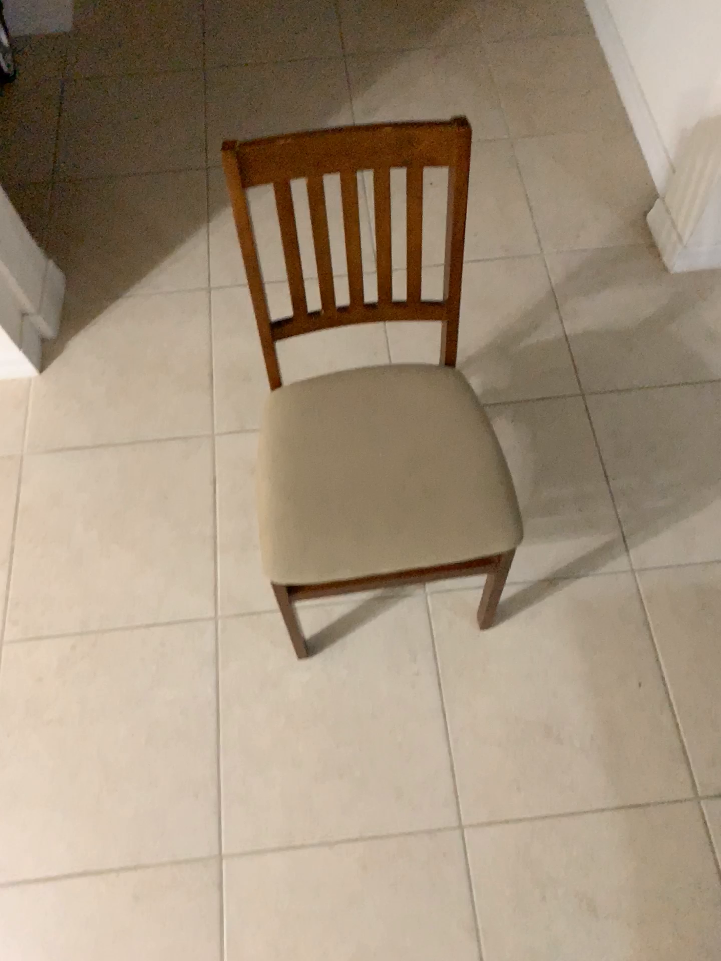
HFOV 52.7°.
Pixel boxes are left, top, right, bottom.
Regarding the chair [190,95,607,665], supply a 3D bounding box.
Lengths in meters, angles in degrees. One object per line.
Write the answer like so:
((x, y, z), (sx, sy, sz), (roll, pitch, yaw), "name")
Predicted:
((0.025, -0.082, 1.325), (0.450, 0.885, 0.594), (-7, 64, -2), "chair")
